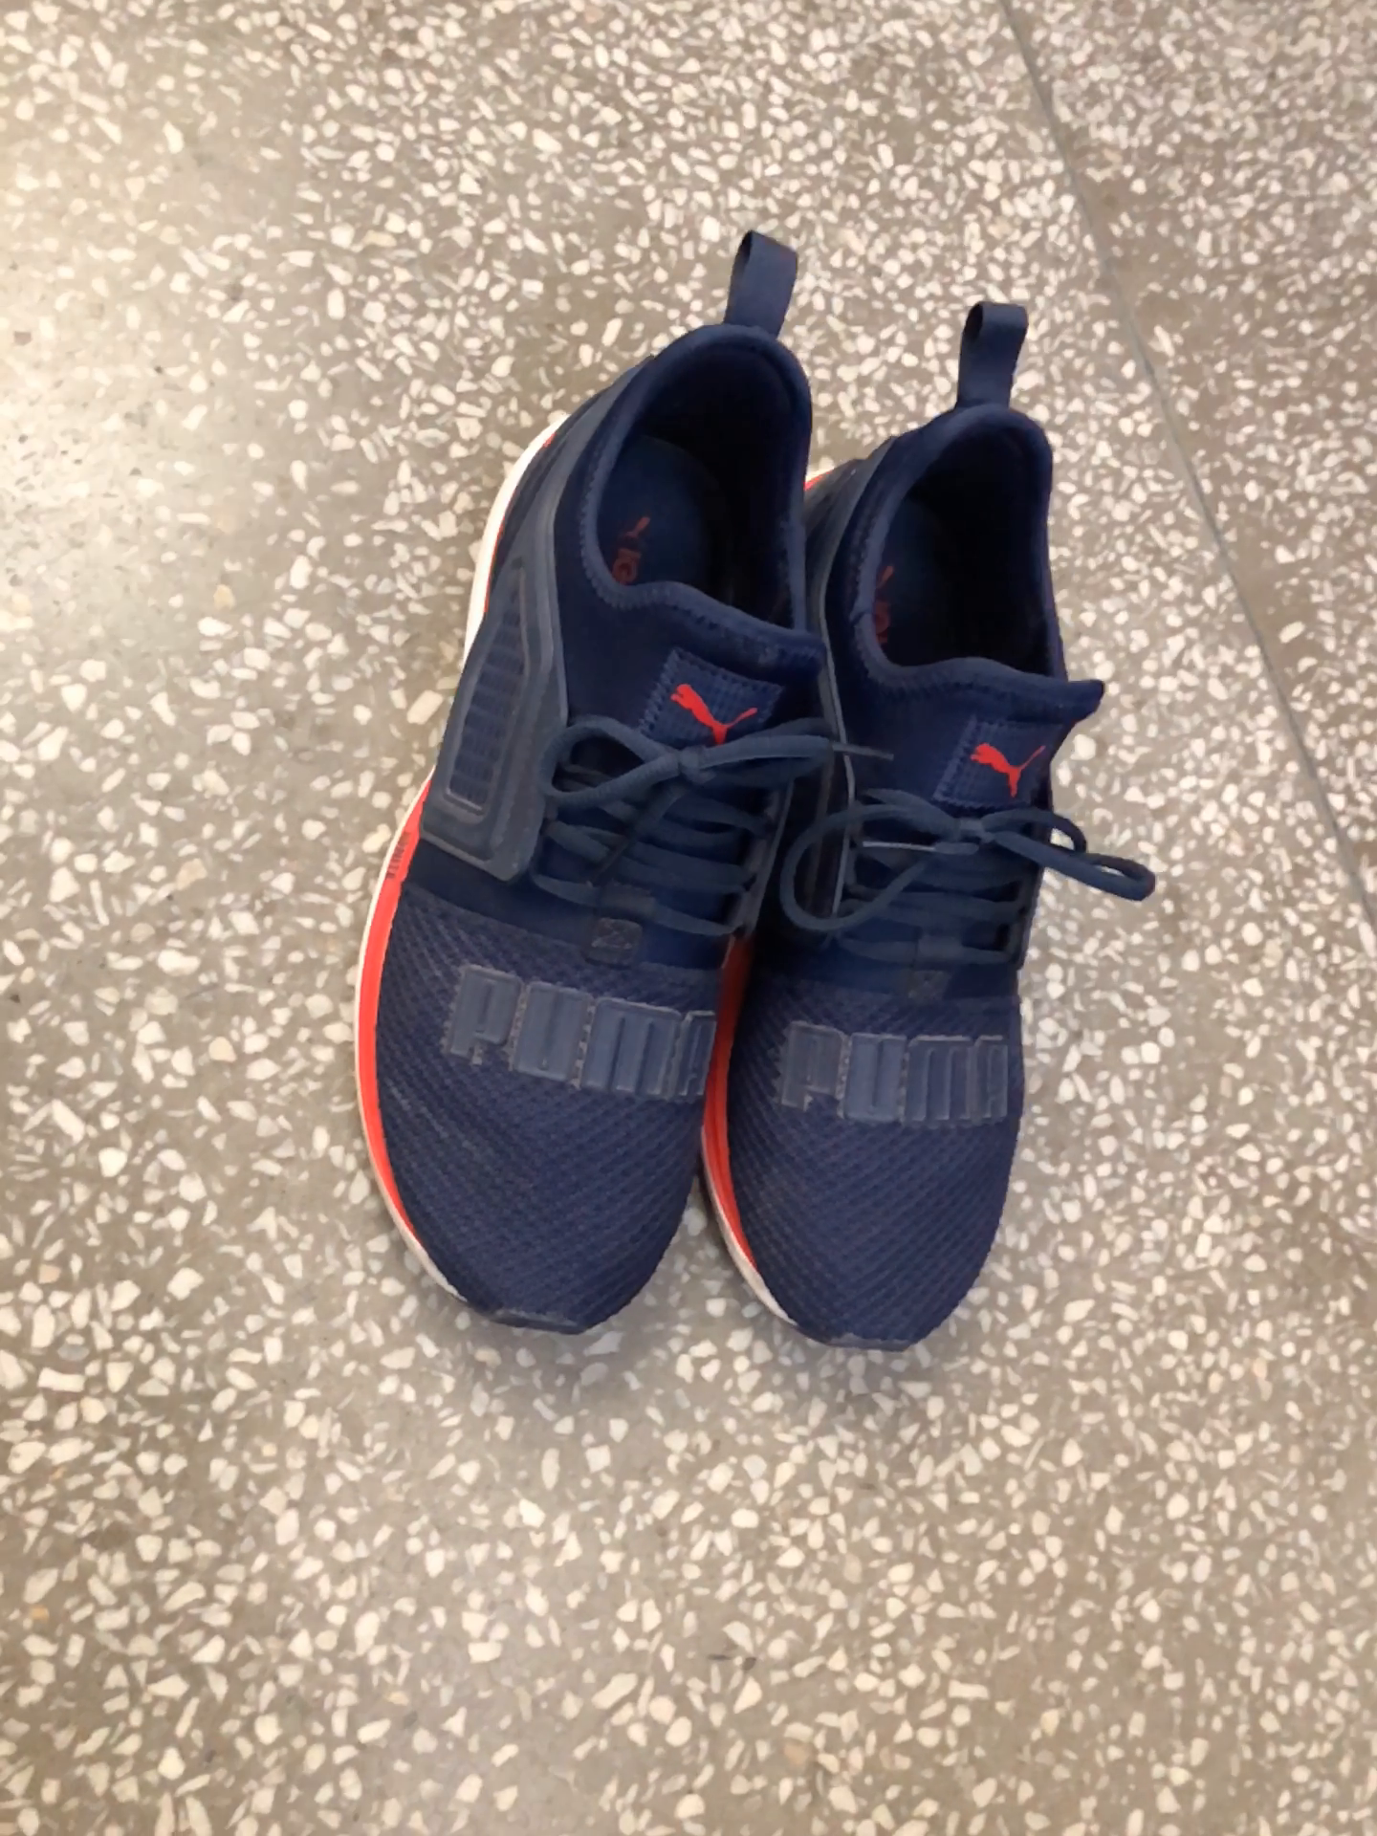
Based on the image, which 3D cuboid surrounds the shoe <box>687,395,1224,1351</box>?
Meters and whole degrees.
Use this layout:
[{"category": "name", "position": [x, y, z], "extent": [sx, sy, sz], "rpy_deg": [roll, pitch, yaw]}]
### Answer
[{"category": "shoe", "position": [0.065, -0.003, 0.426], "extent": [0.100, 0.120, 0.230], "rpy_deg": [5, 76, -12]}]

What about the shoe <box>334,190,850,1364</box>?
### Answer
[{"category": "shoe", "position": [-0.025, -0.028, 0.397], "extent": [0.100, 0.100, 0.270], "rpy_deg": [6, 76, -18]}]
